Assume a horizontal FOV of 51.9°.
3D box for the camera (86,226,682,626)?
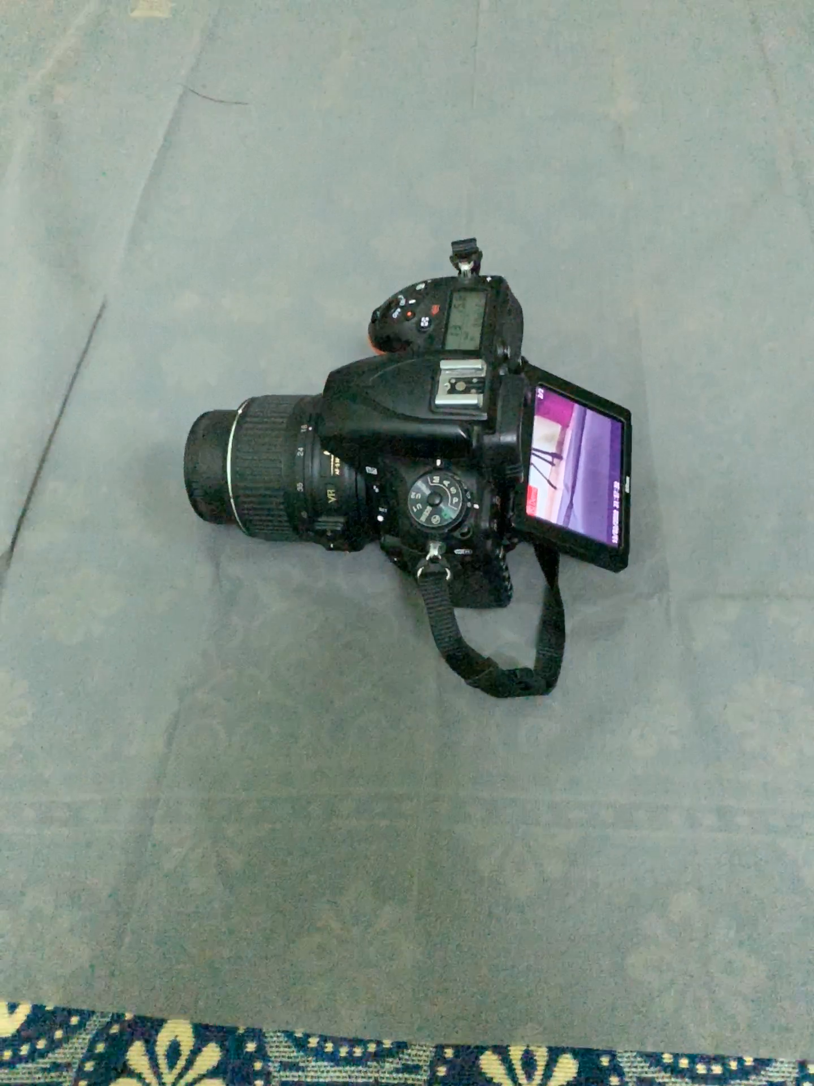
[{"bbox_3d":[-0.006,-0.059,0.409,0.230,0.100,0.166,1,58,2],"label":"camera"}]
